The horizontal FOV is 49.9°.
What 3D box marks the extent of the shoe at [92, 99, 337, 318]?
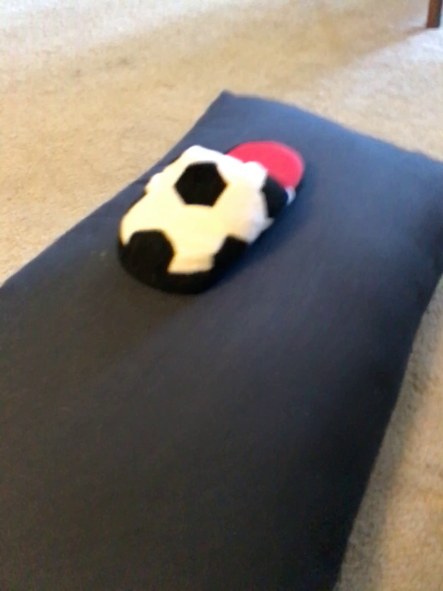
[{"bbox_3d":[0.003,-0.093,0.449,0.108,0.072,0.214,30,56,24],"label":"shoe"}]
